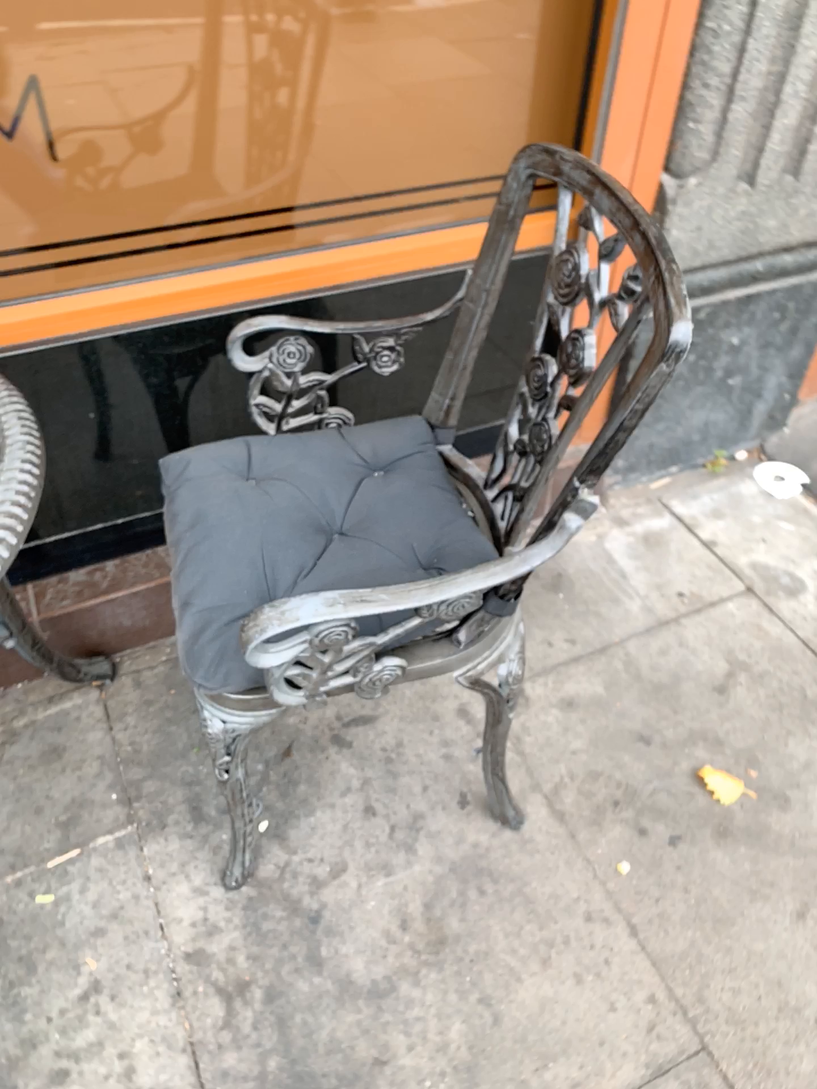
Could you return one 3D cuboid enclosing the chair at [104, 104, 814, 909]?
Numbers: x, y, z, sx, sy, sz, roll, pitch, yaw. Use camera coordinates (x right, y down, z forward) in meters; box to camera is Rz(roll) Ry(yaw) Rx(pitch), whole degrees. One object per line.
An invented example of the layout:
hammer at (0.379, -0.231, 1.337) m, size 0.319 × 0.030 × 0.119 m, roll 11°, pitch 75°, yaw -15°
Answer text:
chair at (-0.033, -0.028, 1.087) m, size 0.551 × 0.852 × 0.494 m, roll -8°, pitch 44°, yaw -17°
